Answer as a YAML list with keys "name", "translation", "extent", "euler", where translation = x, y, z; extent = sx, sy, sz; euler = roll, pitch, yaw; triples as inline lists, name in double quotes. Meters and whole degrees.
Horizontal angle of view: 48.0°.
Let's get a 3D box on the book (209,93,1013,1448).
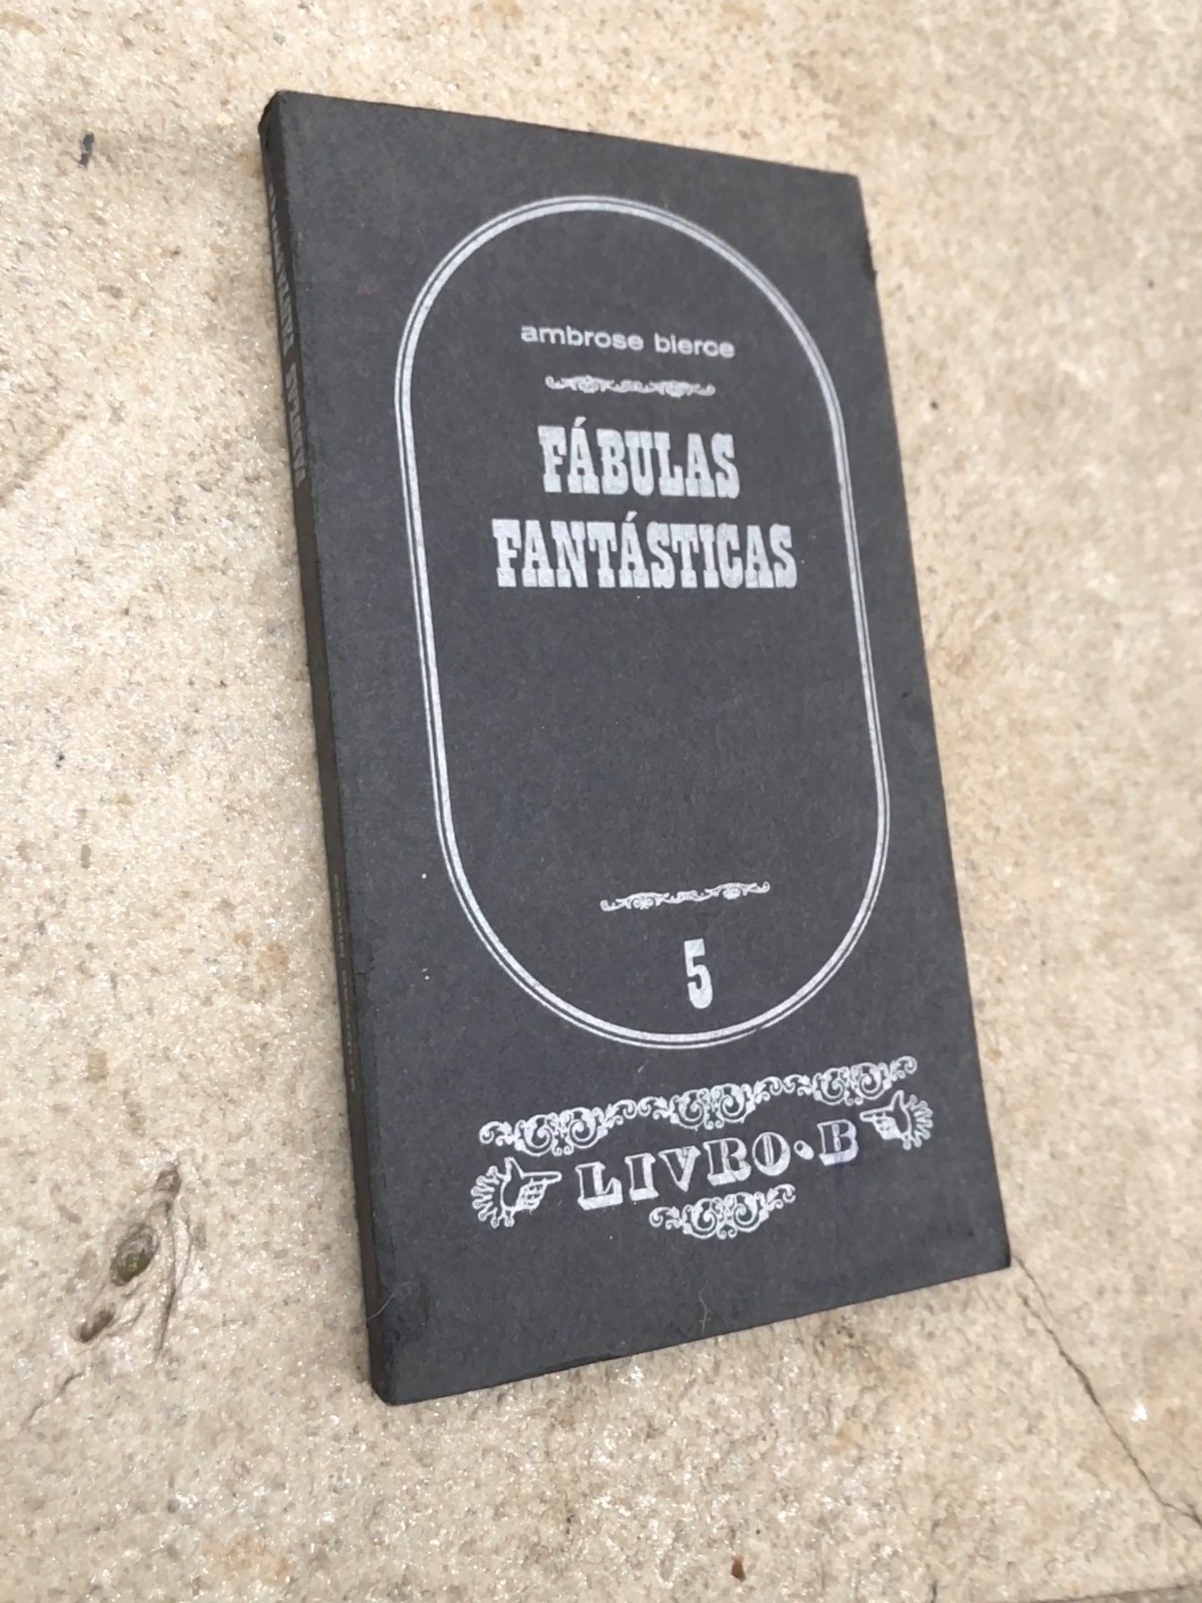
- name: "book"
  translation: [0.003, -0.010, 0.199]
  extent: [0.105, 0.013, 0.176]
  euler: [-3, 84, -22]
